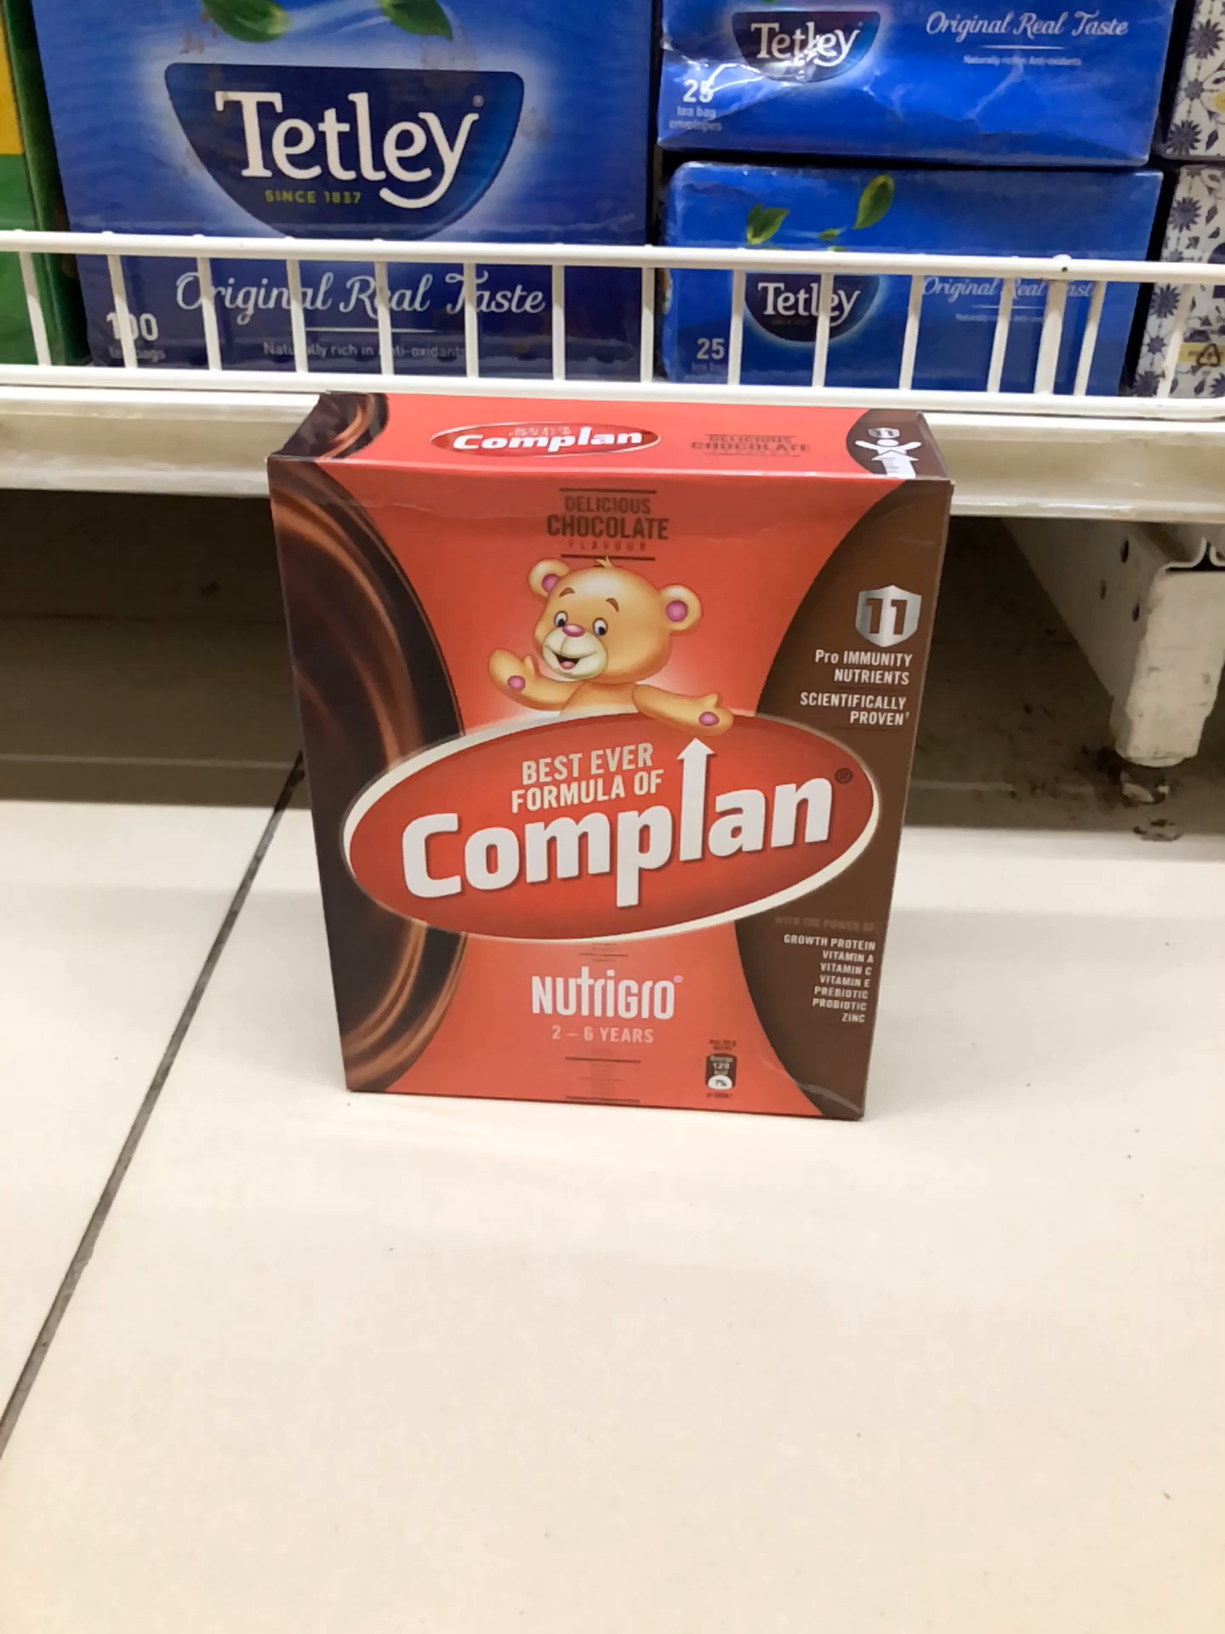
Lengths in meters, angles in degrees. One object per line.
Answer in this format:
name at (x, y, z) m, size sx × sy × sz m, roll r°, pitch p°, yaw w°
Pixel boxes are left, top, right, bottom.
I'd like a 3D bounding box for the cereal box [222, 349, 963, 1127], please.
cereal box at (-0.004, -0.012, 0.325) m, size 0.140 × 0.179 × 0.050 m, roll 2°, pitch 33°, yaw 2°
